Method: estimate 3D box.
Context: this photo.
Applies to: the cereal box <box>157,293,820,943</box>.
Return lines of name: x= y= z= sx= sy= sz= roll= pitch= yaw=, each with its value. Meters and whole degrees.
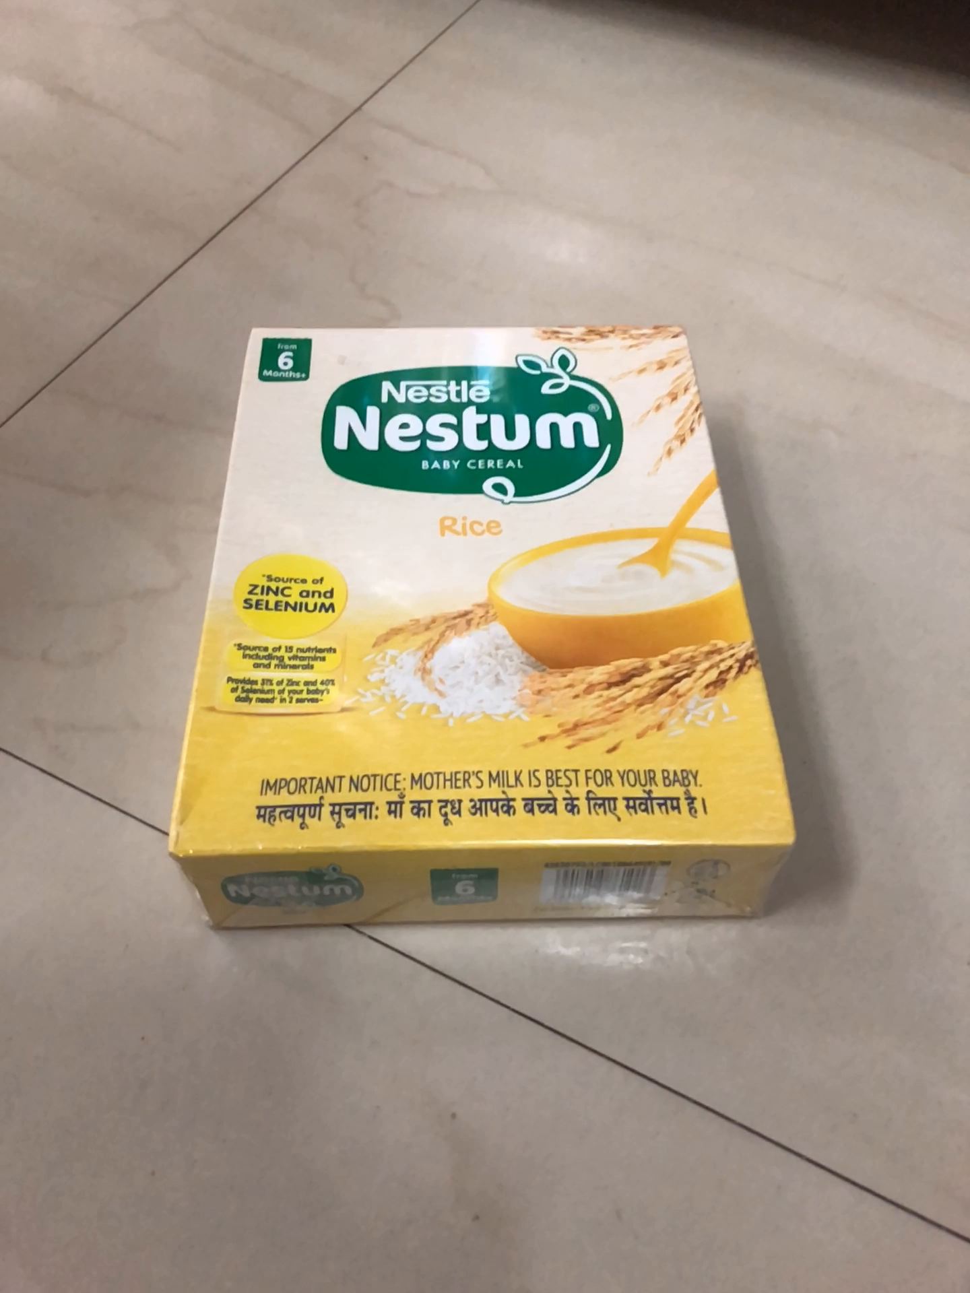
cereal box: x=-0.001 y=-0.019 z=0.327 sx=0.150 sy=0.060 sz=0.201 roll=-1 pitch=54 yaw=0
